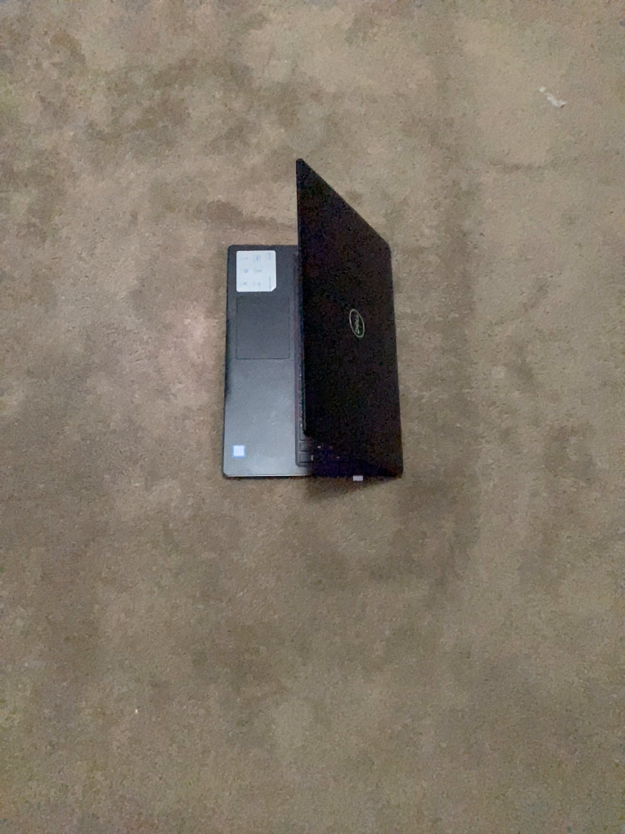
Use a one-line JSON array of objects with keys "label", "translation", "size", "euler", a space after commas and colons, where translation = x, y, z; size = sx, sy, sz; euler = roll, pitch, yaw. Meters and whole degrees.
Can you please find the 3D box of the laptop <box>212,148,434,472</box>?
[{"label": "laptop", "translation": [0.006, -0.135, 0.866], "size": [0.251, 0.202, 0.377], "euler": [-1, 73, 0]}]
